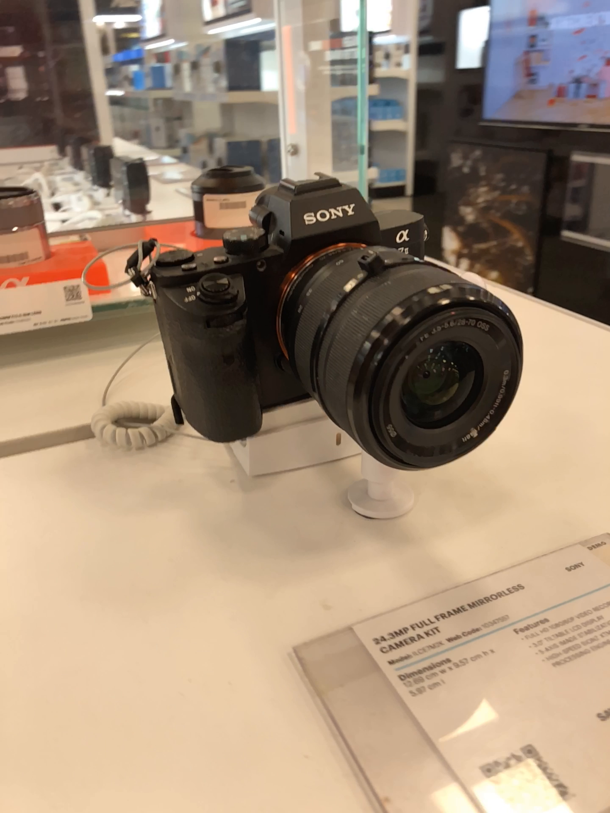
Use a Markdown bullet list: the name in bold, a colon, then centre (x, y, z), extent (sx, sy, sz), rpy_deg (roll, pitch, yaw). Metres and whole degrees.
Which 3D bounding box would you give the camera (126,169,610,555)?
- **camera**: centre (0.017, -0.039, 0.297), extent (0.140, 0.100, 0.150), rpy_deg (-14, 28, -23)
